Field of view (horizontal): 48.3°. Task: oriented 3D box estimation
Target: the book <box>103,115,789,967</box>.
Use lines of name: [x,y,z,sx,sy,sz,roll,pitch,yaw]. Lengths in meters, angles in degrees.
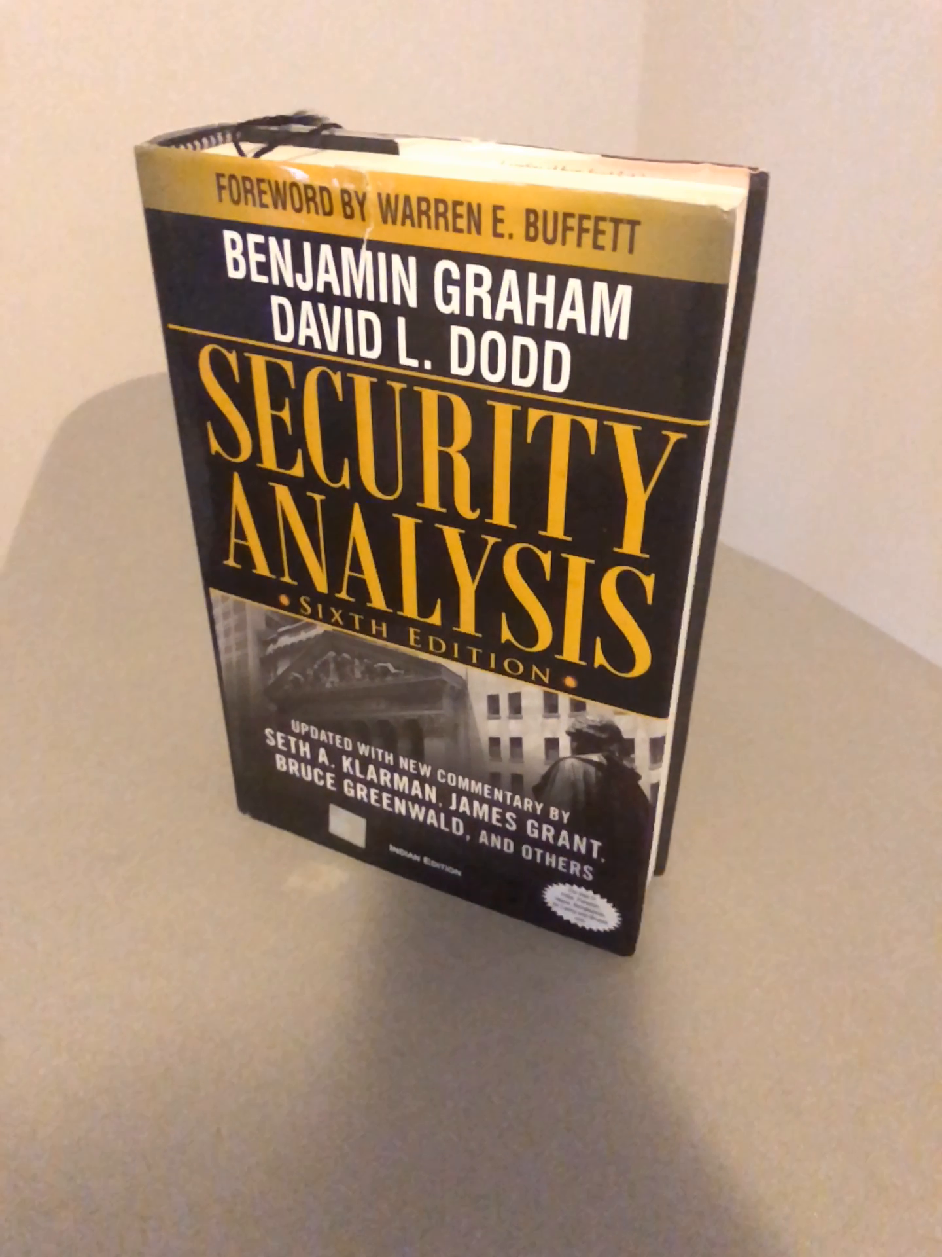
book: [-0.010,-0.021,0.320,0.164,0.230,0.047,16,37,23]
